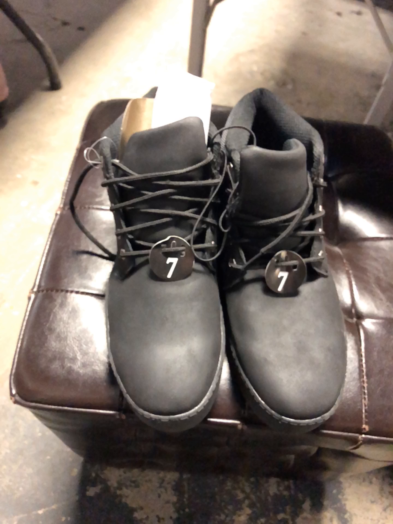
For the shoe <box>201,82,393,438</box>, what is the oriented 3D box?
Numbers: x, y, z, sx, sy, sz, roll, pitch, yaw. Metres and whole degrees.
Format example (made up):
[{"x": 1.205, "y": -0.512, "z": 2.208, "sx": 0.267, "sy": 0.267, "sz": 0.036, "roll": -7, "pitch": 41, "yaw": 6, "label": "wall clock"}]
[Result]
[{"x": 0.070, "y": -0.003, "z": 0.328, "sx": 0.100, "sy": 0.139, "sz": 0.221, "roll": -2, "pitch": 57, "yaw": -7, "label": "shoe"}]

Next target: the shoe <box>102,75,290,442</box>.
[{"x": -0.017, "y": -0.009, "z": 0.359, "sx": 0.100, "sy": 0.139, "sz": 0.261, "roll": -2, "pitch": 57, "yaw": -7, "label": "shoe"}]
